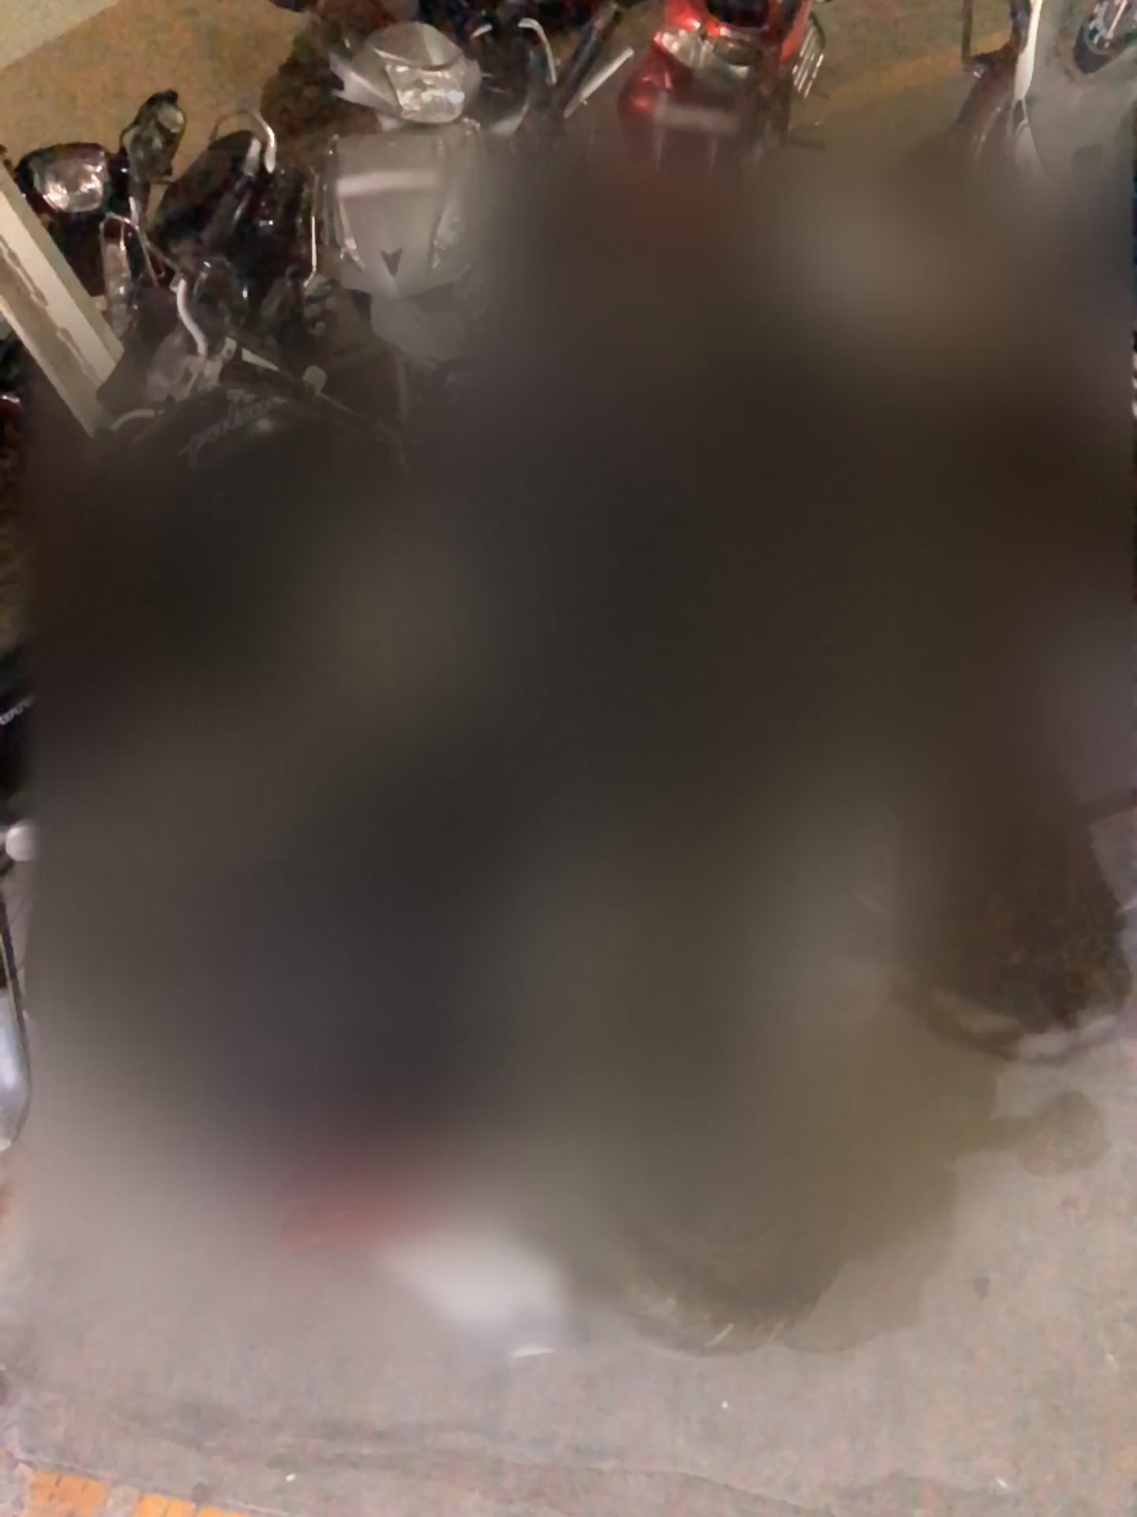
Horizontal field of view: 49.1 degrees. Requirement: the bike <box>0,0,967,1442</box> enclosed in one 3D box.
[{"bbox_3d":[-0.089,-0.218,1.757,0.863,1.251,1.675,-12,41,21],"label":"bike"}]
